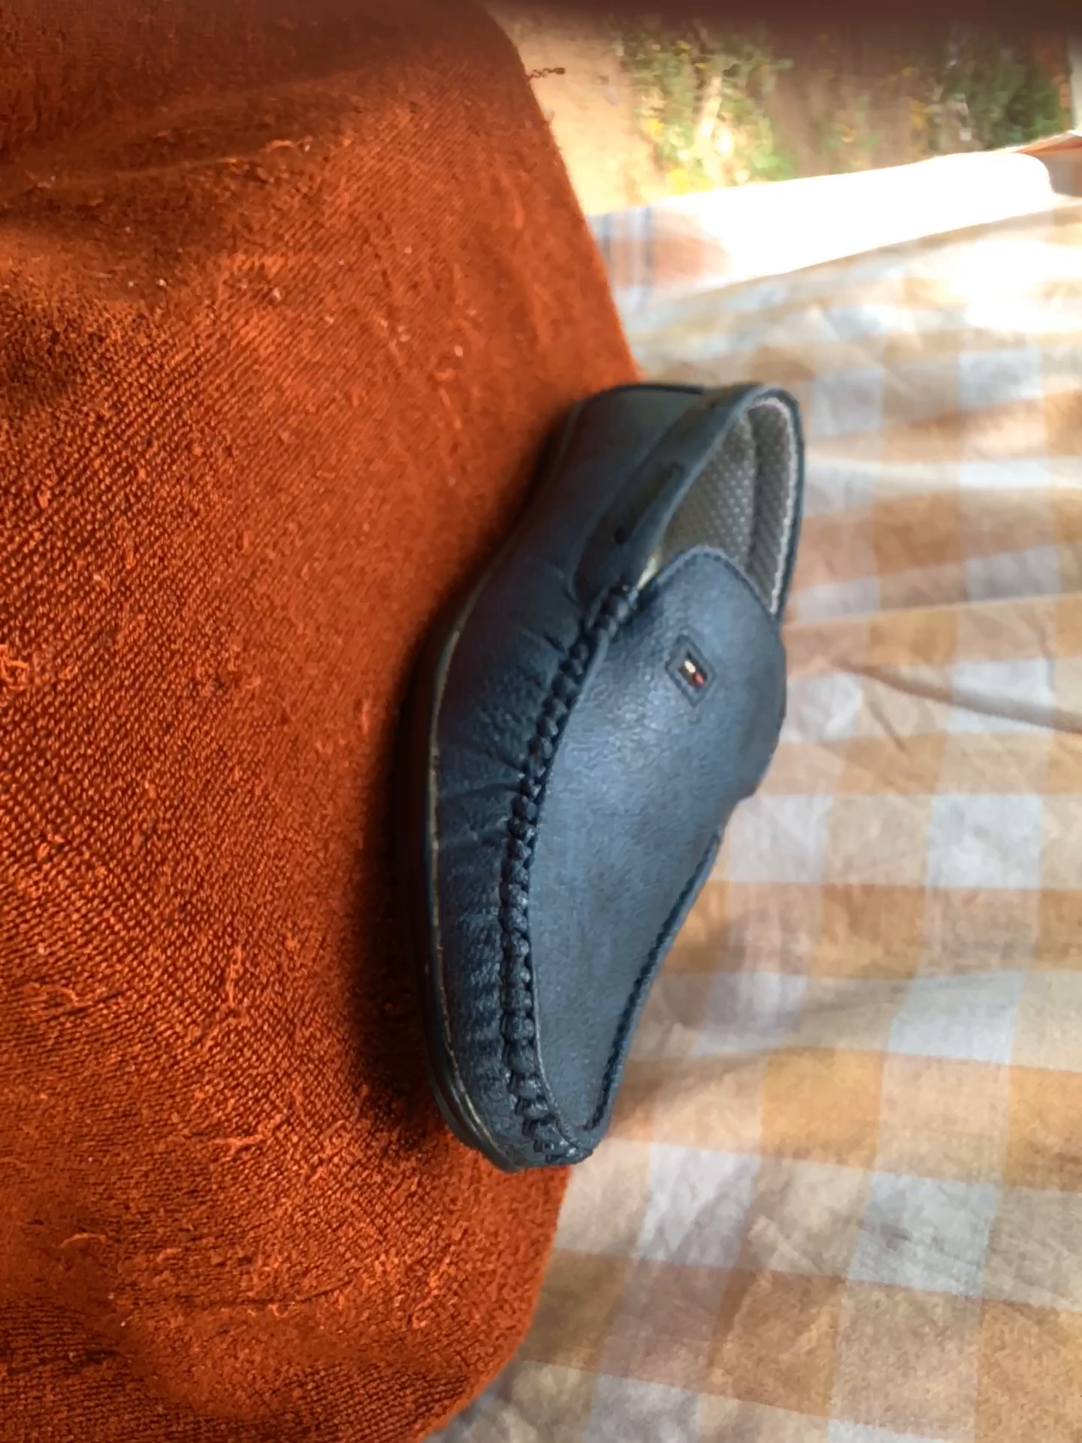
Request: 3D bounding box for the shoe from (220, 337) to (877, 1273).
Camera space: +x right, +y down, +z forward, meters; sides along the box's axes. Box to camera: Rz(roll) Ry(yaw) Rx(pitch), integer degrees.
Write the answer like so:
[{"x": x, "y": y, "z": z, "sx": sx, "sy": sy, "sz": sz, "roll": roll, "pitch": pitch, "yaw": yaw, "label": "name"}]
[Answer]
[{"x": 0.029, "y": 0.003, "z": 0.351, "sx": 0.100, "sy": 0.089, "sz": 0.261, "roll": 65, "pitch": 33, "yaw": -34, "label": "shoe"}]
